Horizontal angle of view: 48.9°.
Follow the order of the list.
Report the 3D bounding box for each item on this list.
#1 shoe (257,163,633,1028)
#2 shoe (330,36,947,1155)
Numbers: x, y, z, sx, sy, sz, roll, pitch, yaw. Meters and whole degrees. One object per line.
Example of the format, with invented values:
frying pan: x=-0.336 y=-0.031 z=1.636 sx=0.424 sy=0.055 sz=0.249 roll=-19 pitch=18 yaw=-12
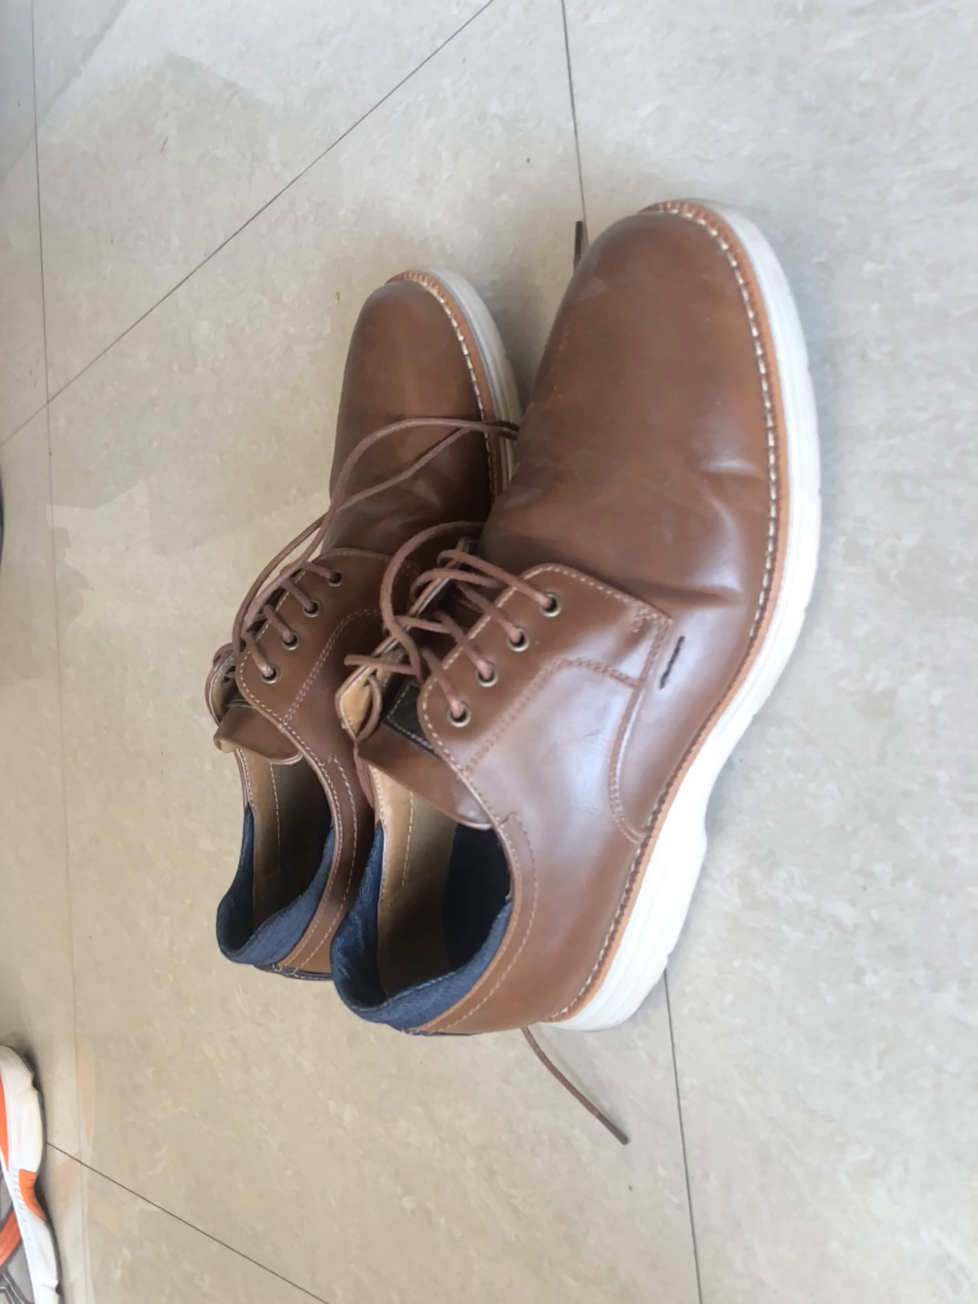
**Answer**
shoe: x=-0.021 y=-0.021 z=0.456 sx=0.101 sy=0.099 sz=0.310 roll=8 pitch=95 yaw=49
shoe: x=0.040 y=-0.012 z=0.359 sx=0.101 sy=0.099 sz=0.310 roll=24 pitch=107 yaw=47
